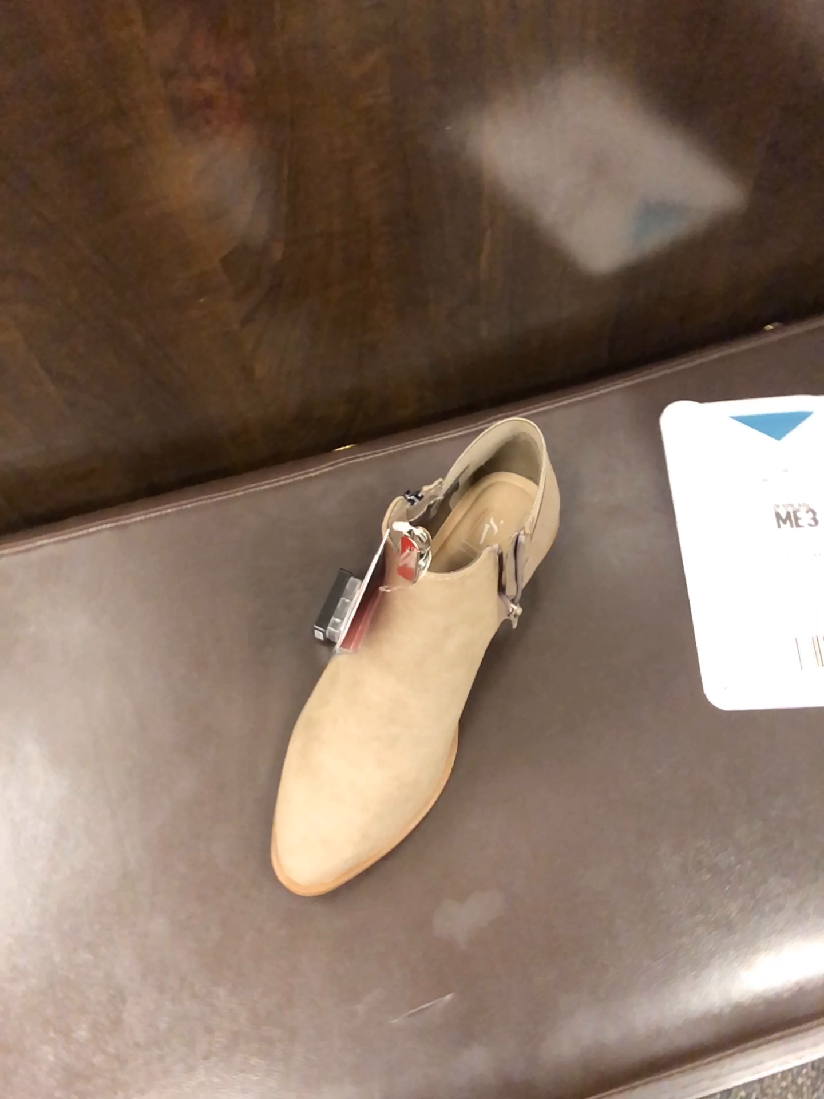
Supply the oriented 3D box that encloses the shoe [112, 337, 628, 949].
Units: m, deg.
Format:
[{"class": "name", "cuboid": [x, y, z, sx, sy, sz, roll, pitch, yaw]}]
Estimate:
[{"class": "shoe", "cuboid": [-0.005, 0.045, 0.453, 0.097, 0.133, 0.260, 28, 67, 17]}]
